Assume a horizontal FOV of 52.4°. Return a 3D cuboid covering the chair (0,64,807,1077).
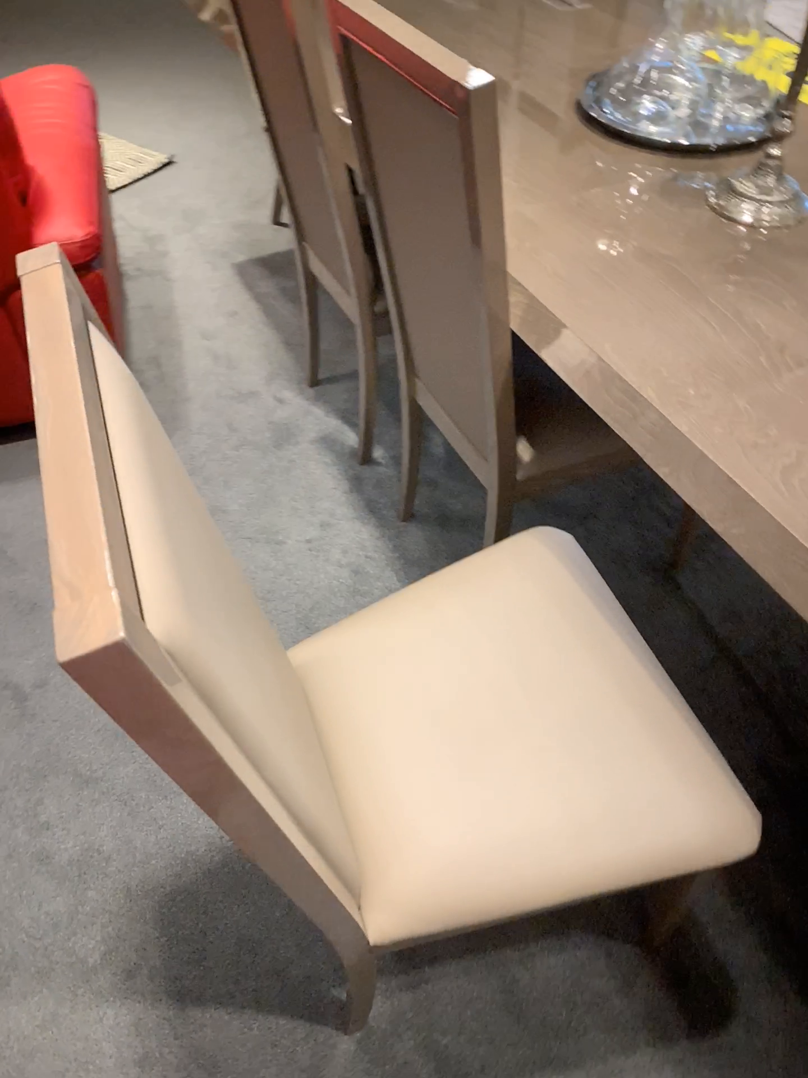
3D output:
[{"bbox_3d":[0.058,0.152,0.895,0.581,0.977,0.502,-17,49,-10],"label":"chair"}]
